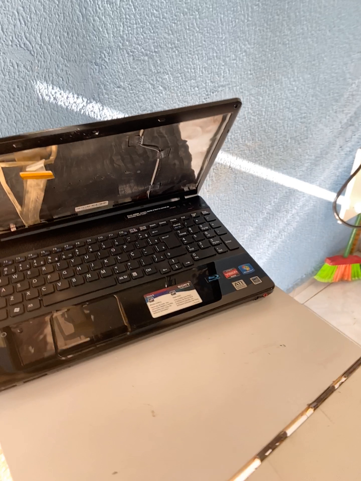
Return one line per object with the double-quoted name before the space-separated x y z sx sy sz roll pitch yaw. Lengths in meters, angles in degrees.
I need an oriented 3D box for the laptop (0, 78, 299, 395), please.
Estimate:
"laptop" -0.093 -0.040 0.457 0.364 0.193 0.243 -16 41 -17
